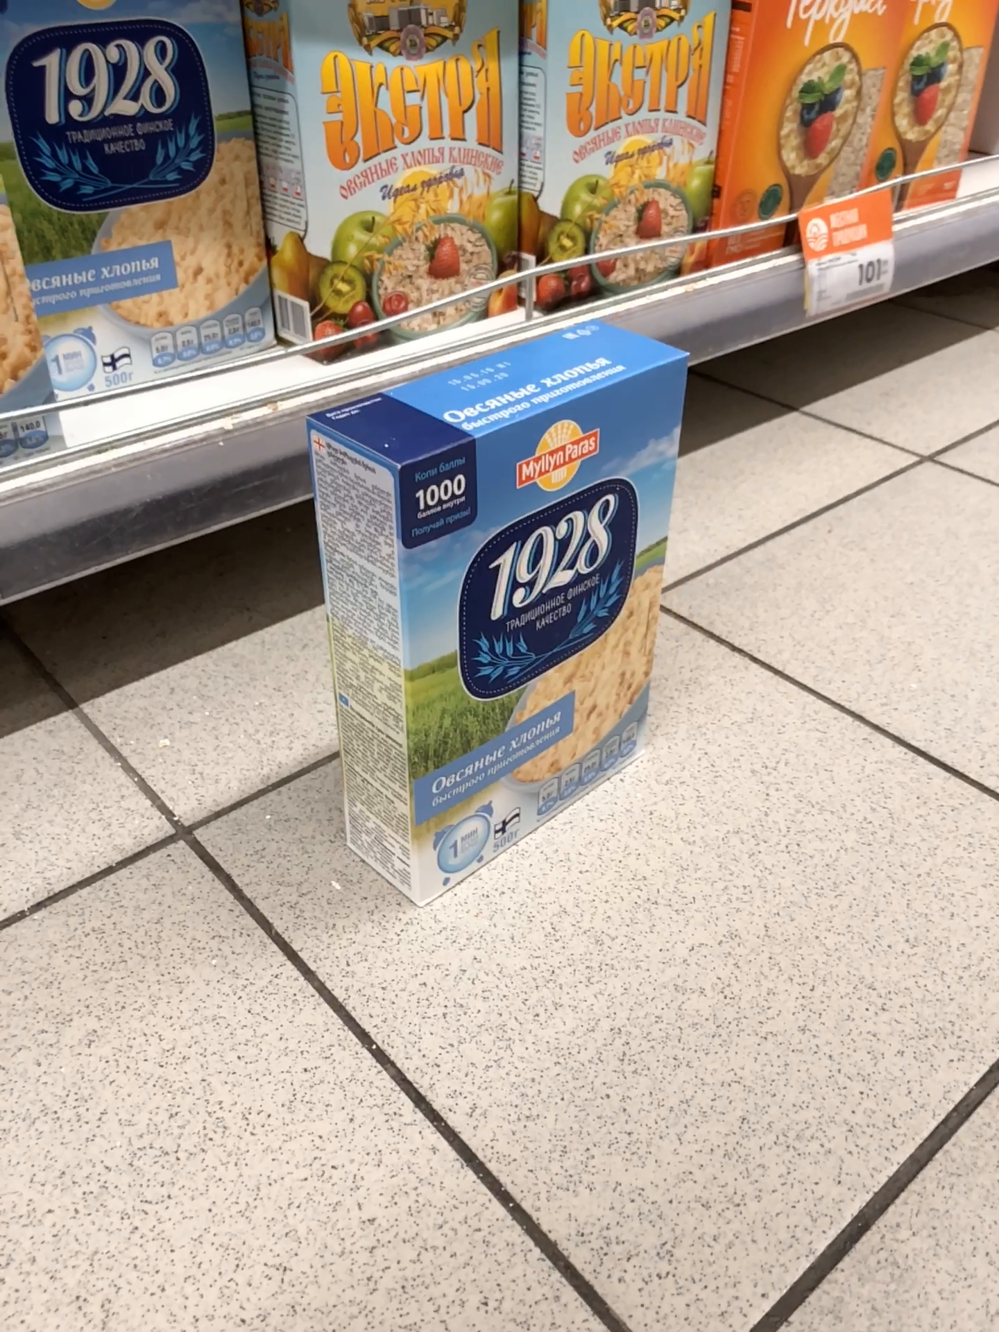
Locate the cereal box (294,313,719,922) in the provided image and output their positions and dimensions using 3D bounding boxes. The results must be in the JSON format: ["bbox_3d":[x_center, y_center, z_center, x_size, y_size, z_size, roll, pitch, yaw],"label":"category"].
[{"bbox_3d":[0.006,-0.020,0.448,0.151,0.199,0.060,-29,46,-34],"label":"cereal box"}]
